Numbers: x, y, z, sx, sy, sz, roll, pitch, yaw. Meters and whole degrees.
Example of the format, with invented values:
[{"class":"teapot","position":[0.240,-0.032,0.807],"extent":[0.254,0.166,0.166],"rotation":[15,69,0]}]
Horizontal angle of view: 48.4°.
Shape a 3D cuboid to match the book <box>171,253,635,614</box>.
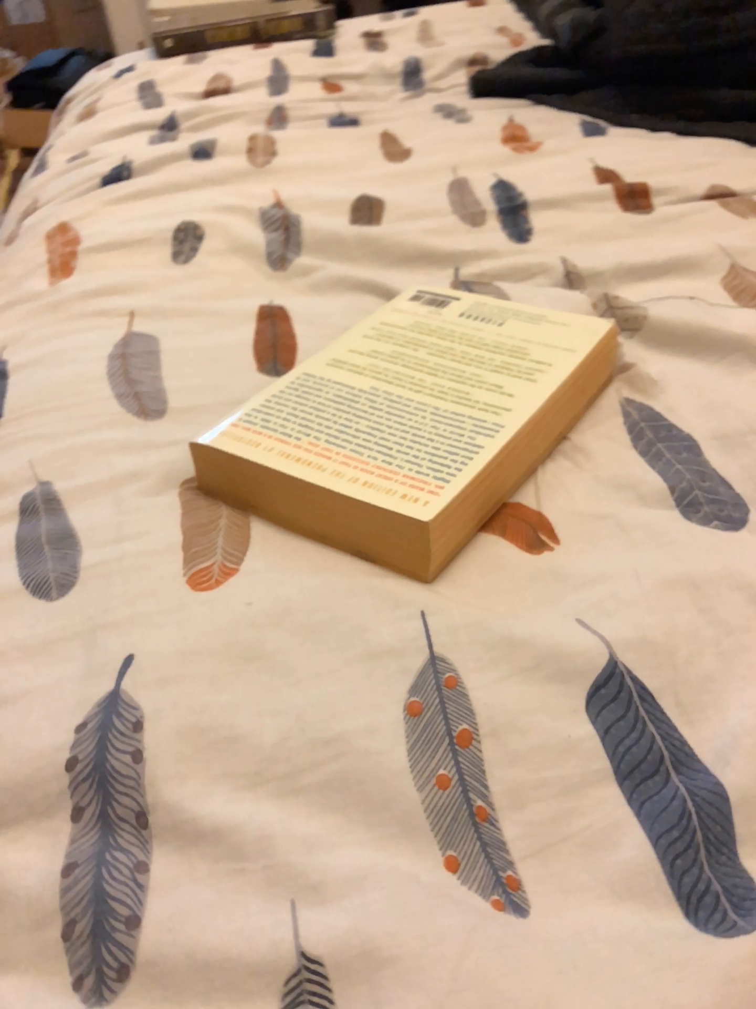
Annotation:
[{"class":"book","position":[0.024,-0.057,0.449],"extent":[0.150,0.040,0.221],"rotation":[21,46,24]}]
